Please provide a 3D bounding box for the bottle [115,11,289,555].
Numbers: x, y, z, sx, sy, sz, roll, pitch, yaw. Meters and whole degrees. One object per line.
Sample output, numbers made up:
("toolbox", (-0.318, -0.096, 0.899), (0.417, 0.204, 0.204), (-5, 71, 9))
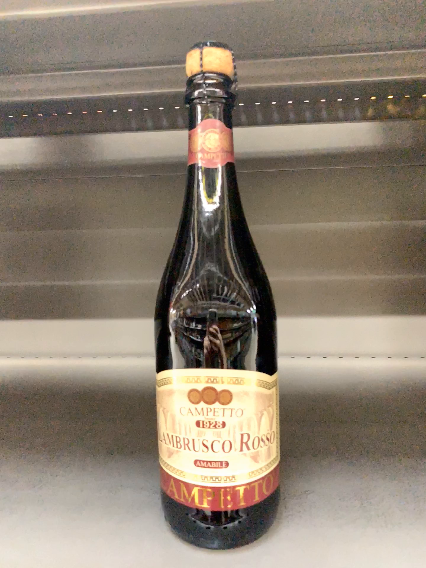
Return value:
("bottle", (-0.002, 0.004, 0.283), (0.090, 0.300, 0.080), (-1, 4, 4))
